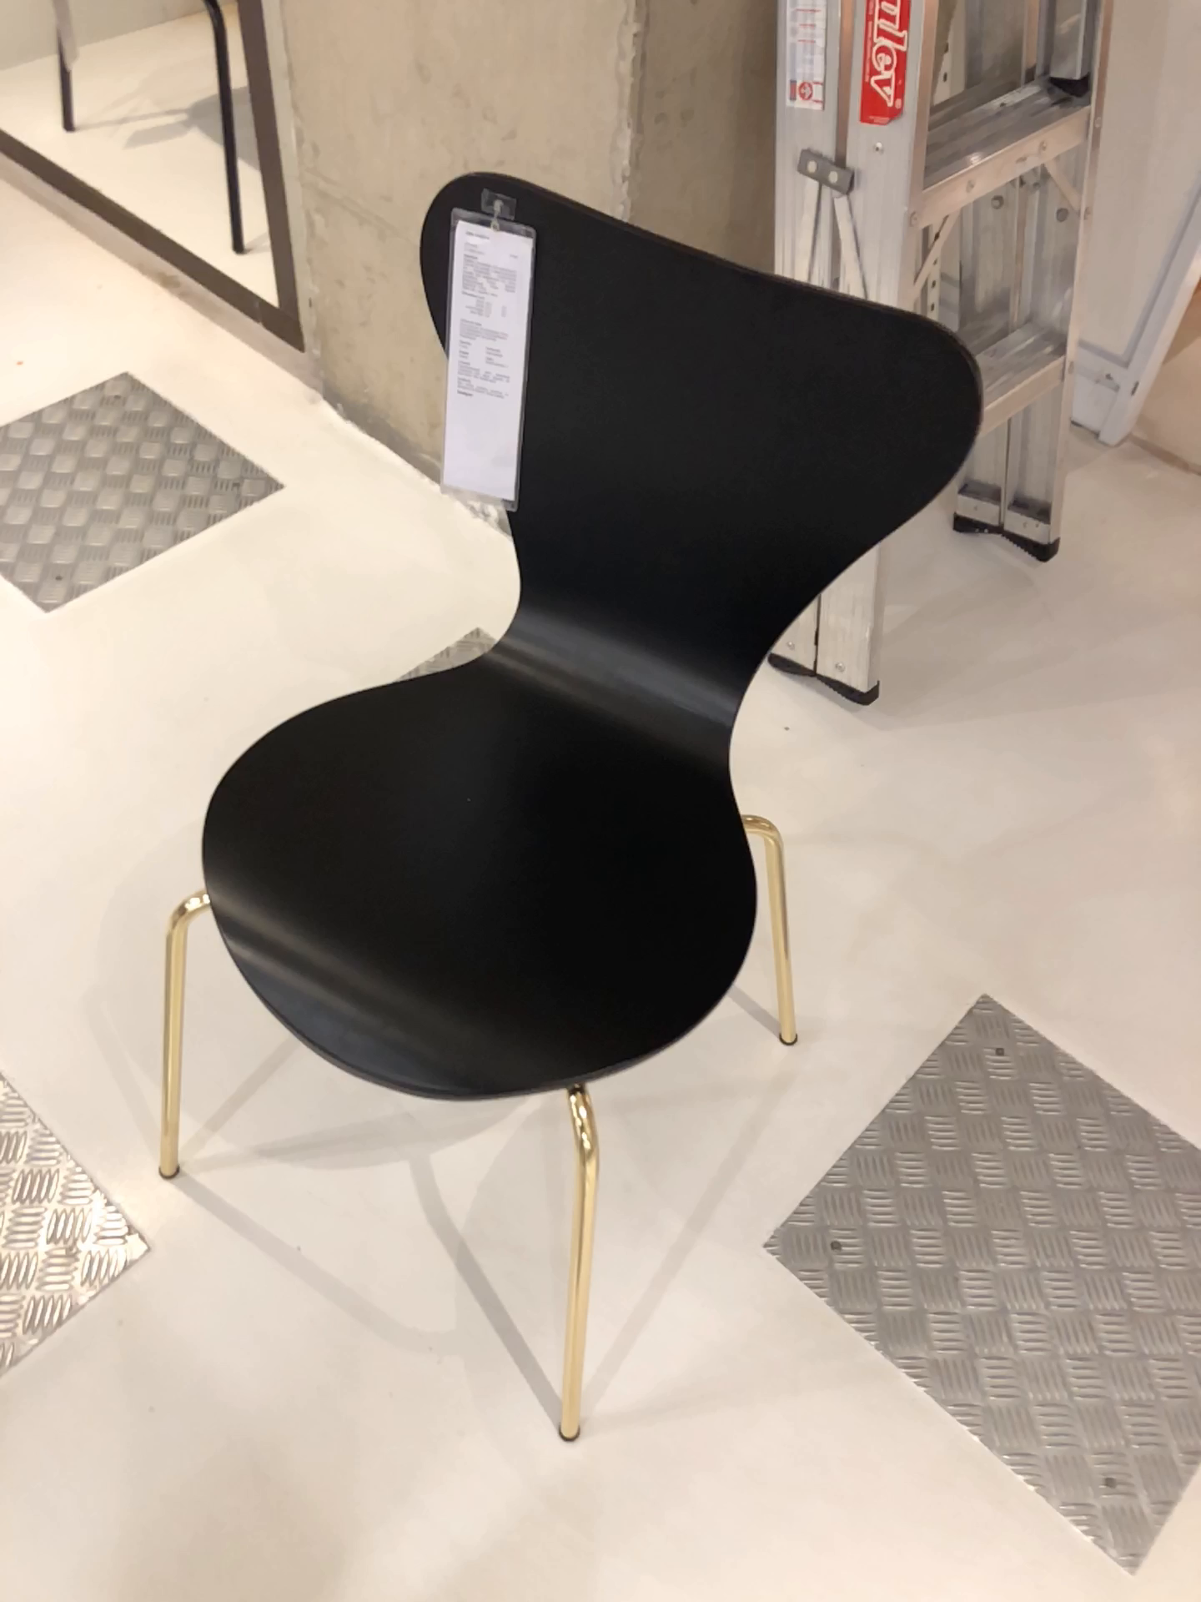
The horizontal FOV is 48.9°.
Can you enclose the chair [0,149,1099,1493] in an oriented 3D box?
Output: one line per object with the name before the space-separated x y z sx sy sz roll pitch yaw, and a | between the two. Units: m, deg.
chair | -0.070 0.050 1.042 0.511 0.775 0.543 27 53 17
